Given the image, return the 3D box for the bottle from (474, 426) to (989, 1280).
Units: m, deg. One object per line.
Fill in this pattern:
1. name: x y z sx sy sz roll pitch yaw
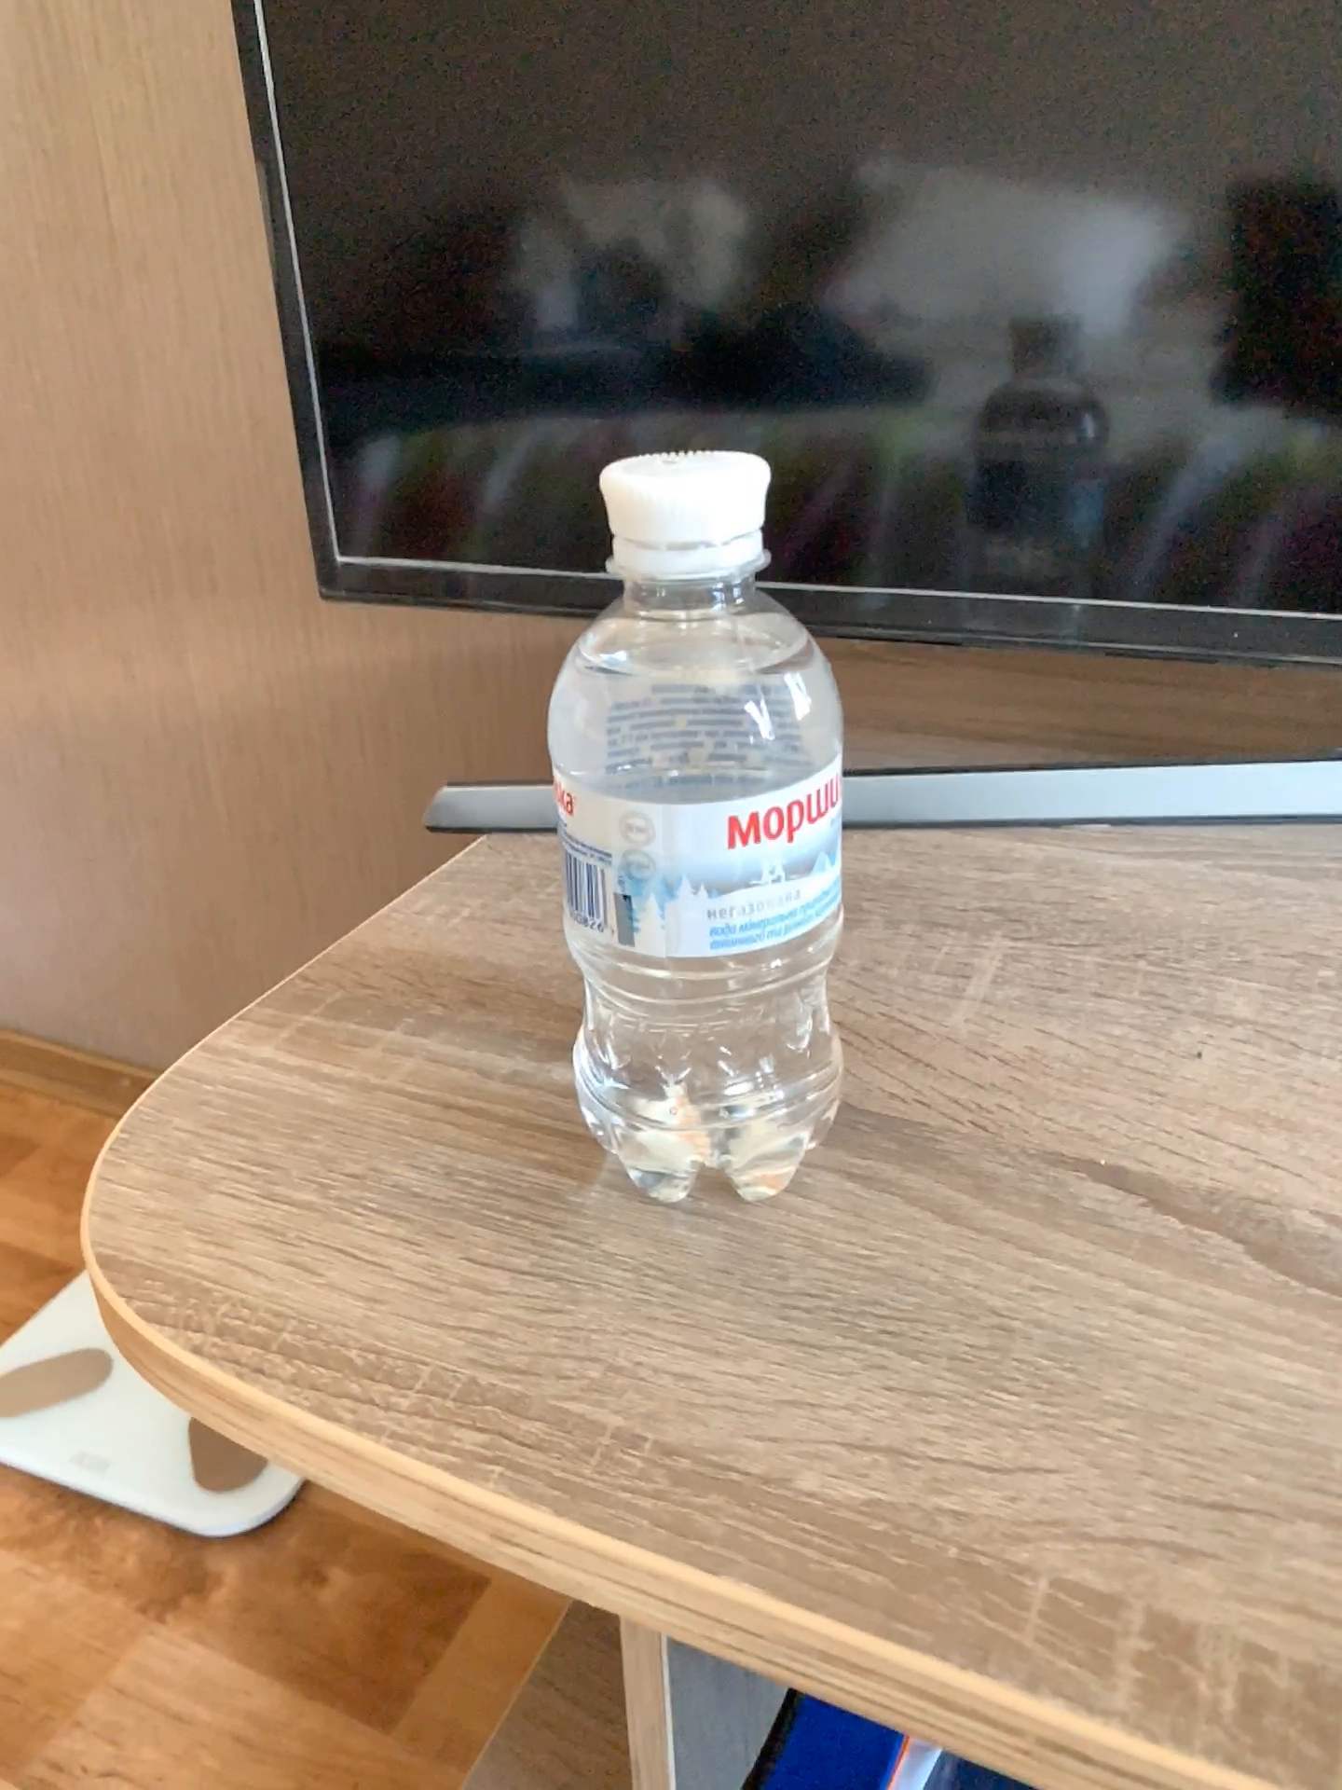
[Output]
1. bottle: 0.016 -0.012 0.283 0.070 0.149 0.070 -2 25 1
